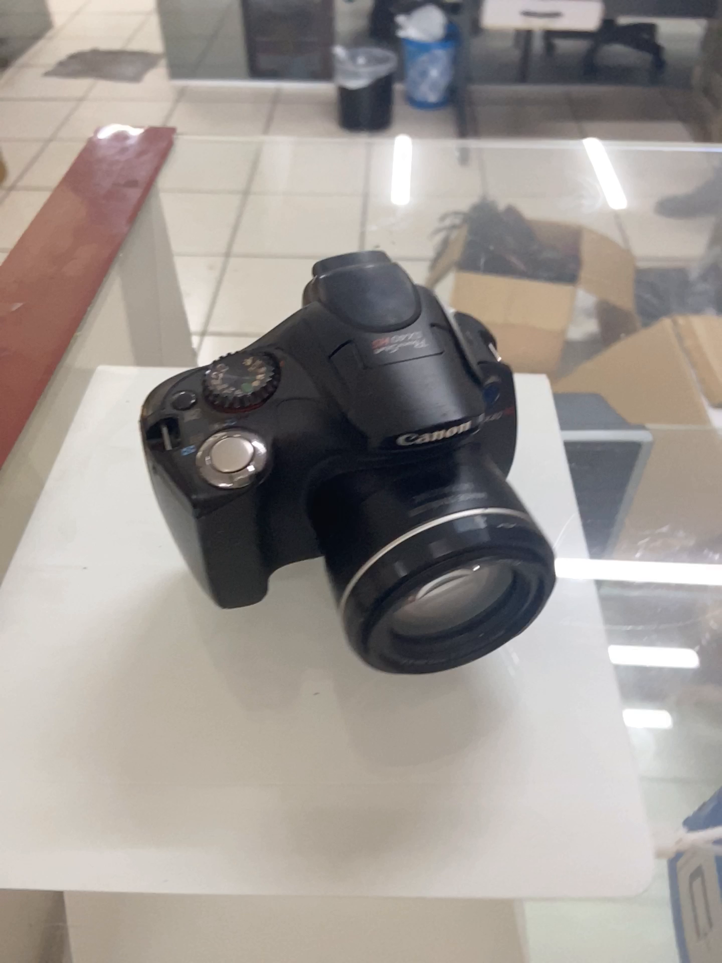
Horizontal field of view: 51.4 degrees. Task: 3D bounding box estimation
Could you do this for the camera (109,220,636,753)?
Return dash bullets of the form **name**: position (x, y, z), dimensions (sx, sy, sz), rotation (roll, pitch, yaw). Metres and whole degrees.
- **camera**: position (-0.007, -0.008, 0.267), dimensions (0.120, 0.089, 0.141), rotation (-16, 48, -15)
